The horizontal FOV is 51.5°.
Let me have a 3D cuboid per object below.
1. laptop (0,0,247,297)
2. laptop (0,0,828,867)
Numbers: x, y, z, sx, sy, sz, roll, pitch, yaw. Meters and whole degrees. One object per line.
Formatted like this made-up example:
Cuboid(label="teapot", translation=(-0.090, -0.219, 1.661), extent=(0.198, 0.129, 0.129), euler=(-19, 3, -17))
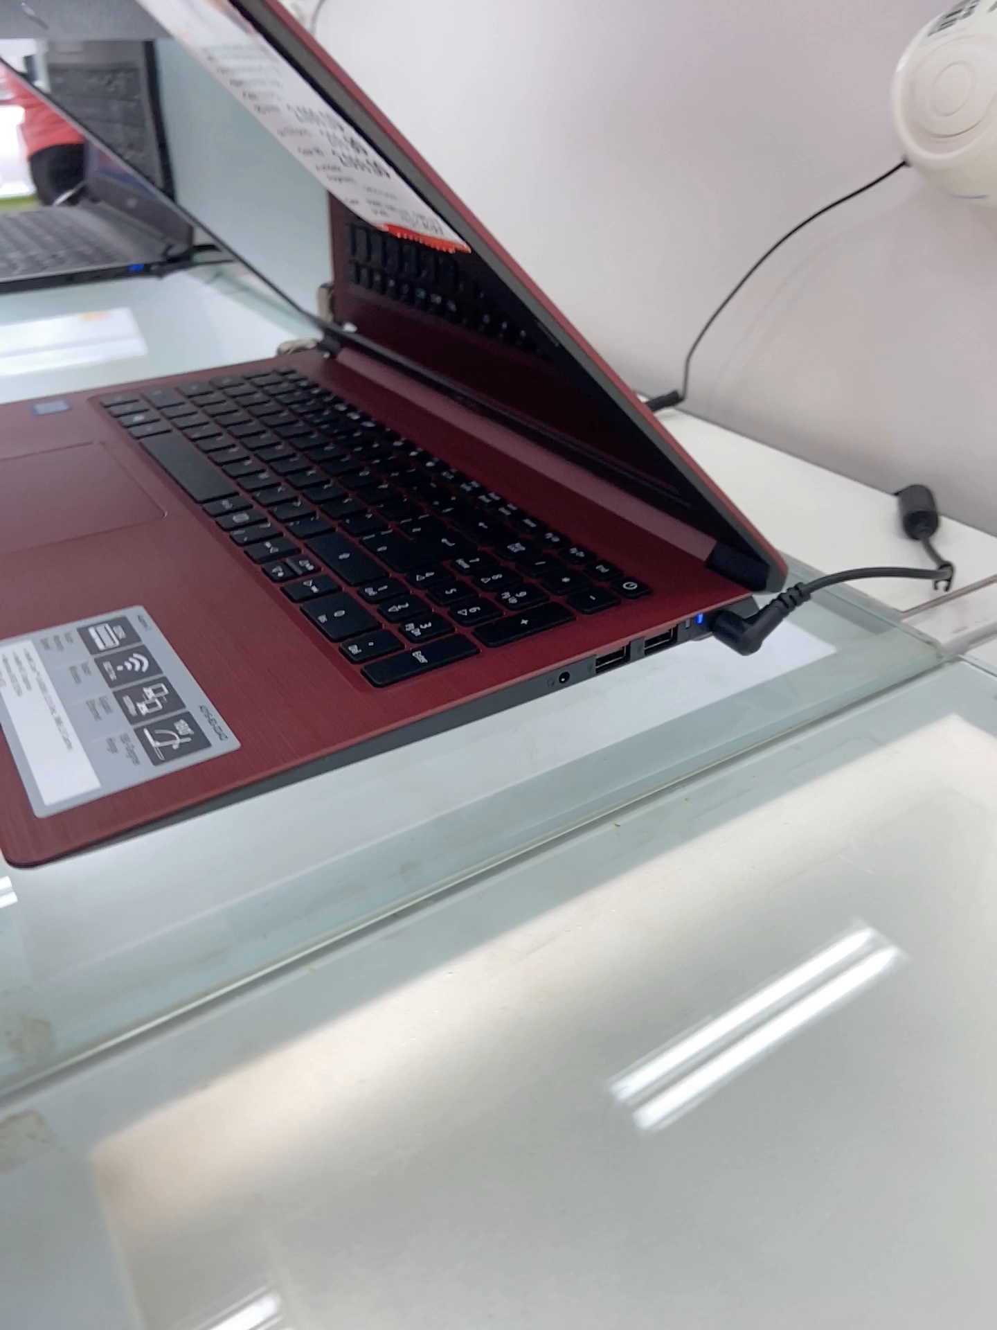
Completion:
Cuboid(label="laptop", translation=(-0.441, -0.494, 0.893), extent=(0.305, 0.230, 0.329), euler=(-19, 37, -25))
Cuboid(label="laptop", translation=(-0.113, -0.145, 0.385), extent=(0.238, 0.179, 0.369), euler=(-20, 36, -26))
